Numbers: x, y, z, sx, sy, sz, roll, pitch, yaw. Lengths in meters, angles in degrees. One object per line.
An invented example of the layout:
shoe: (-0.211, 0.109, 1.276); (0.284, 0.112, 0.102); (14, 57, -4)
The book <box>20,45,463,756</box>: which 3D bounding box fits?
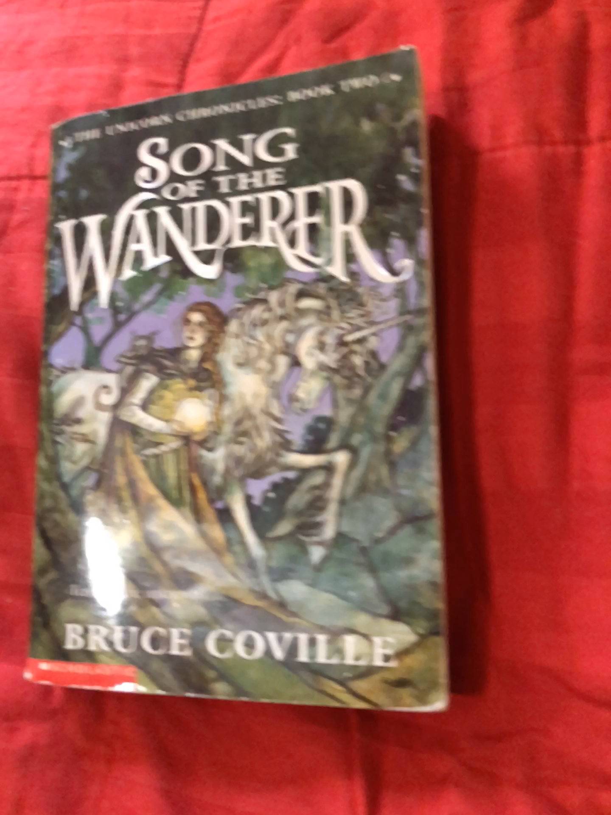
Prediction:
book: (-0.022, -0.004, 0.213); (0.130, 0.030, 0.190); (-3, 82, 18)
